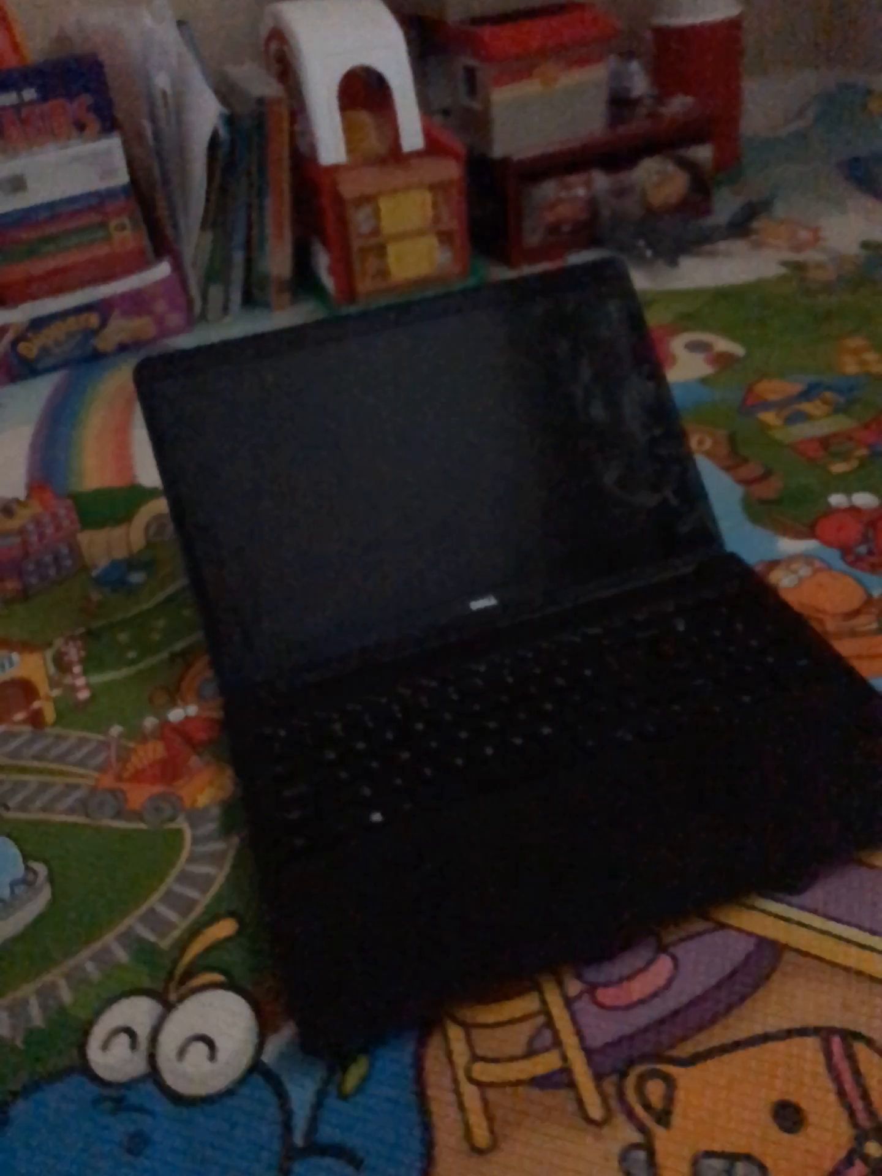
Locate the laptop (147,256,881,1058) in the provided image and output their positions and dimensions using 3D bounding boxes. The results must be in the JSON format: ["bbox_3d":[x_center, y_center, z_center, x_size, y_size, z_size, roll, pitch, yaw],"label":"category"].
[{"bbox_3d":[0.044,-0.019,0.597,0.361,0.158,0.431,-16,40,-11],"label":"laptop"}]
